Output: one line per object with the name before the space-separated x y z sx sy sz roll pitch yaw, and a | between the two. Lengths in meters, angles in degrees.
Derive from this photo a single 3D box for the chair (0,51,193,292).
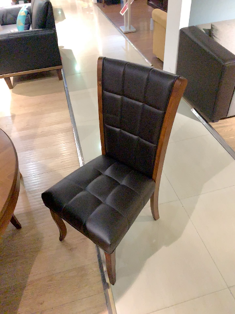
chair | -0.069 0.084 1.216 0.531 0.936 0.601 26 51 29
